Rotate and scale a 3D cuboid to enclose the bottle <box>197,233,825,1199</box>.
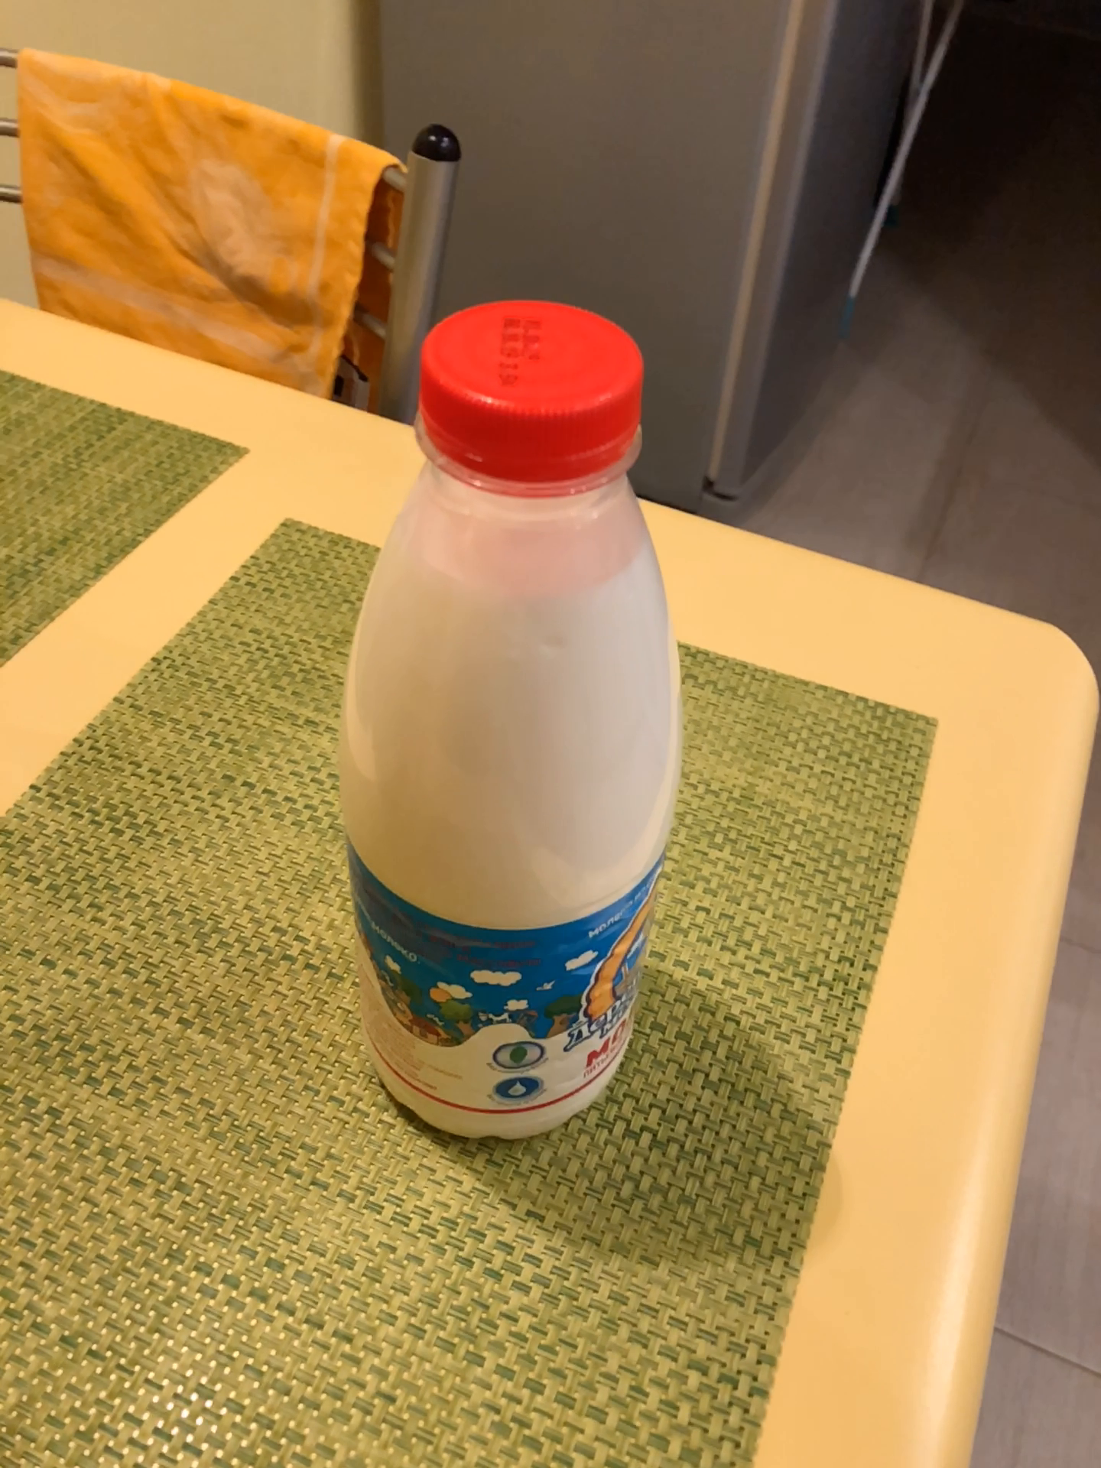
[{"bbox_3d":[-0.009,0.011,0.299,0.090,0.218,0.091,3,45,-3],"label":"bottle"}]
